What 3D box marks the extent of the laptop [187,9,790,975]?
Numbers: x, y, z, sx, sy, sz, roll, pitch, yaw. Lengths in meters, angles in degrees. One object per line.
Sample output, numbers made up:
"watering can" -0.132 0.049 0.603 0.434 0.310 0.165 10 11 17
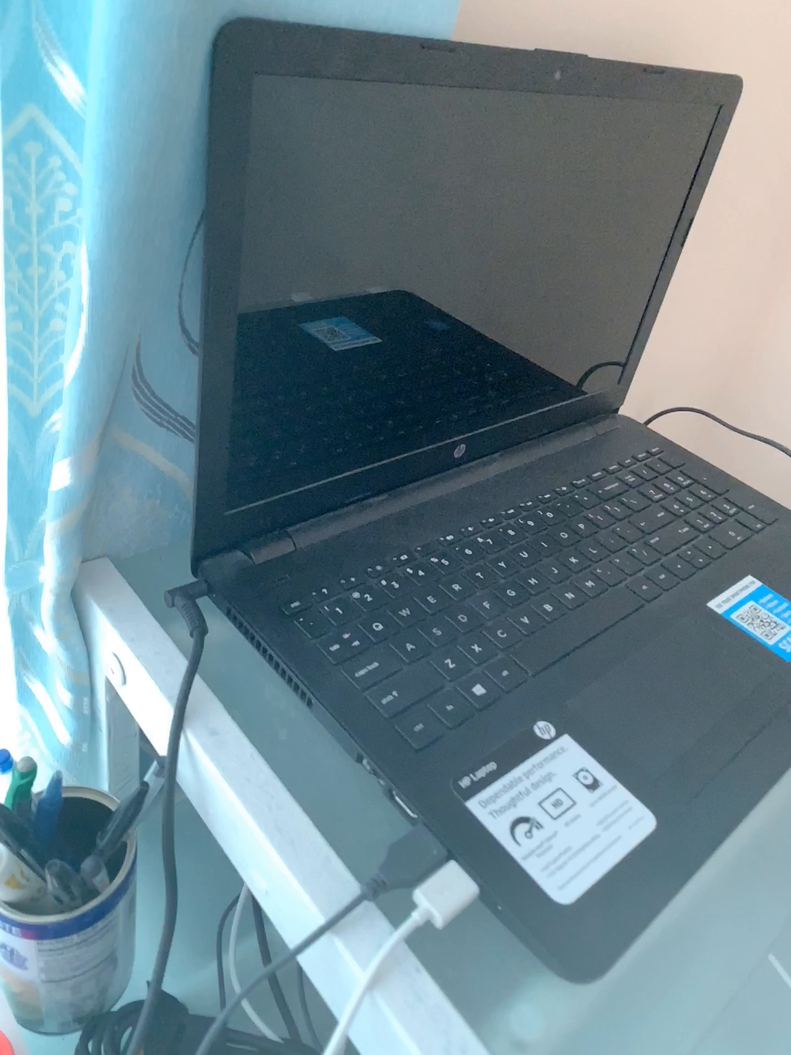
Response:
"laptop" 0.133 -0.061 0.374 0.359 0.225 0.245 -21 48 -39
